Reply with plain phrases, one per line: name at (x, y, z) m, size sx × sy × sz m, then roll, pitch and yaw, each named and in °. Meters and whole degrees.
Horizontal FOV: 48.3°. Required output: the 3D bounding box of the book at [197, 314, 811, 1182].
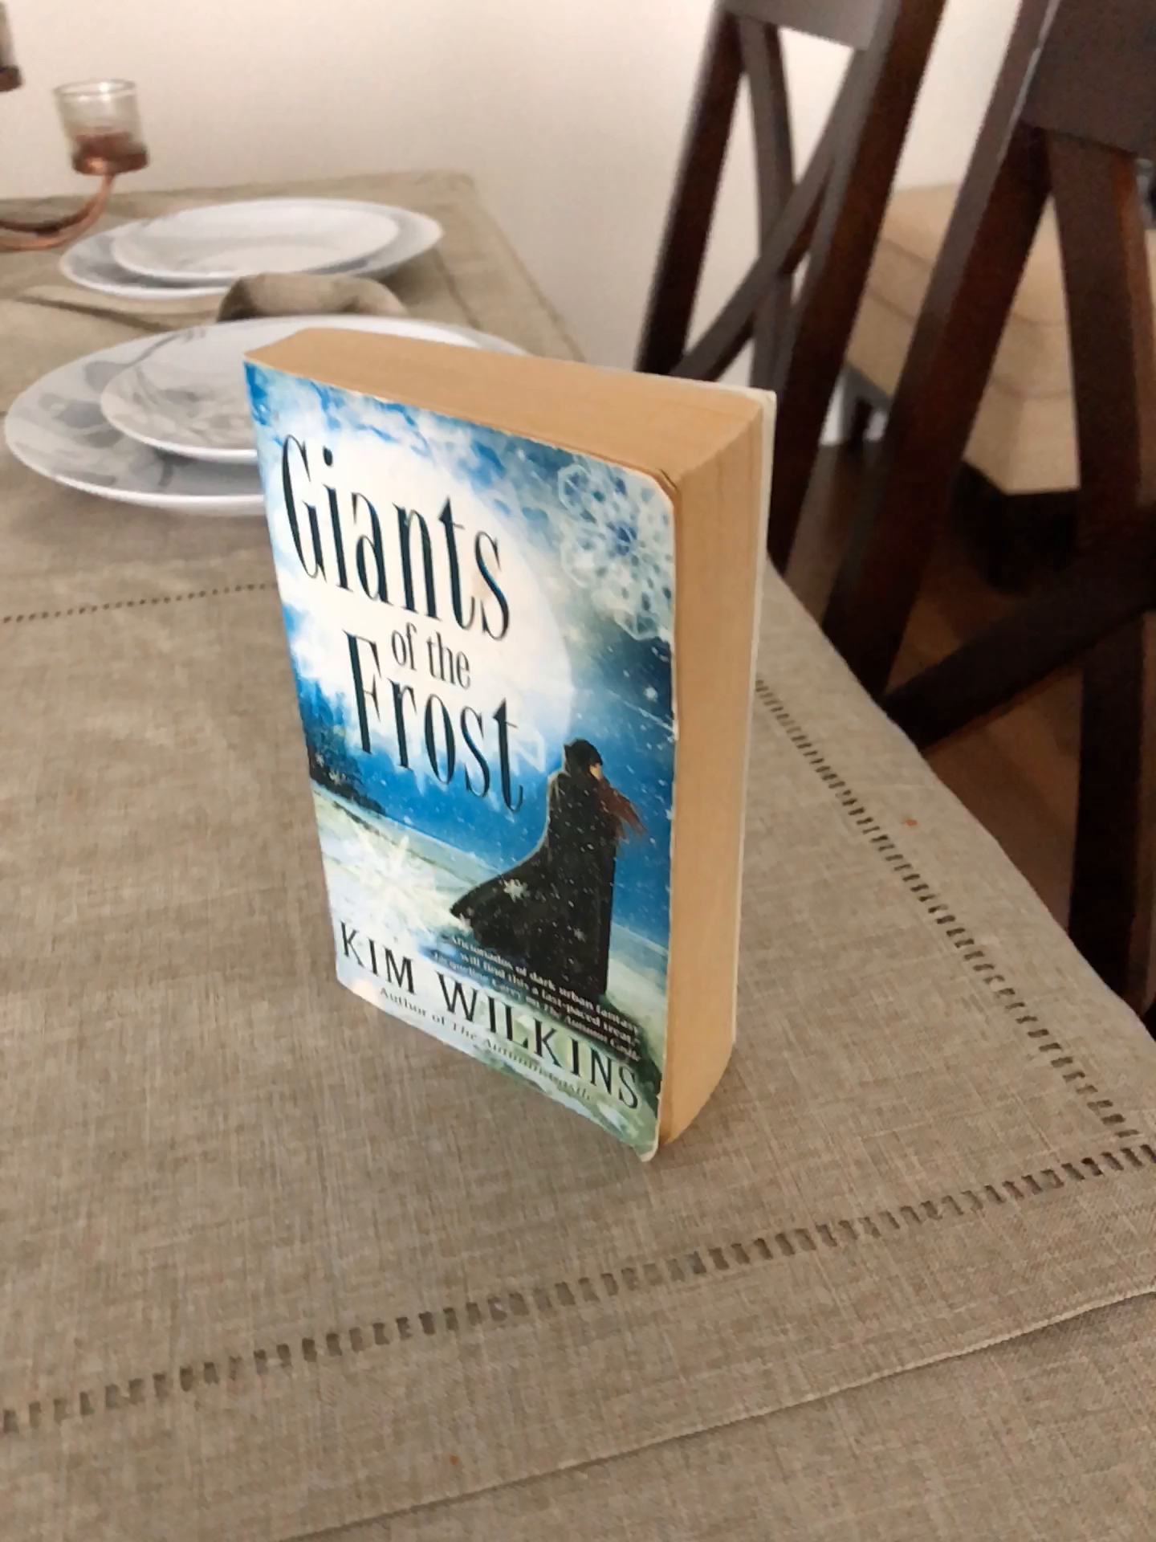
book at (-0.015, -0.003, 0.288) m, size 0.111 × 0.168 × 0.043 m, roll 20°, pitch 39°, yaw 28°
